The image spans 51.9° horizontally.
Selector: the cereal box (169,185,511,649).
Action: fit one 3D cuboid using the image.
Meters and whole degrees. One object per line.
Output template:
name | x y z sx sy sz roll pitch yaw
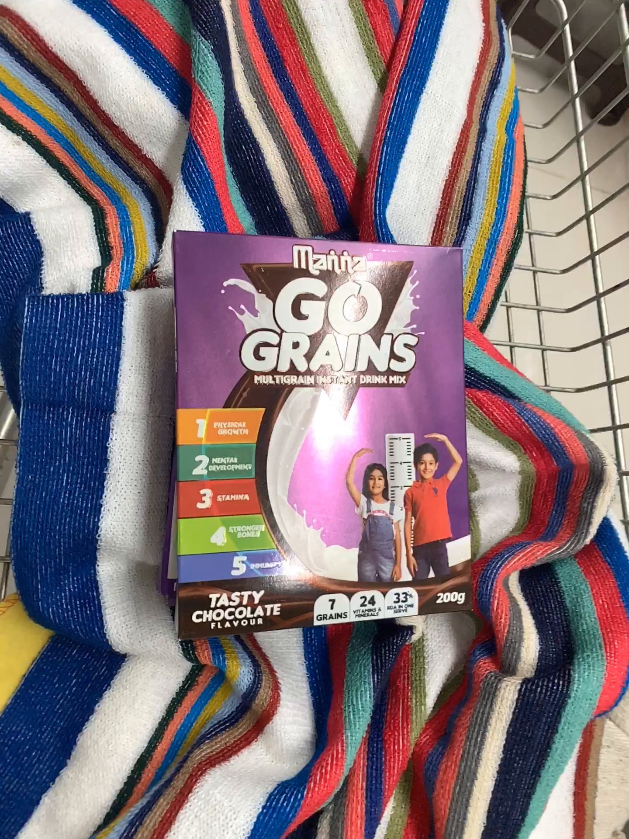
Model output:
cereal box | 0.010 -0.001 0.281 0.140 0.050 0.170 0 90 -17
